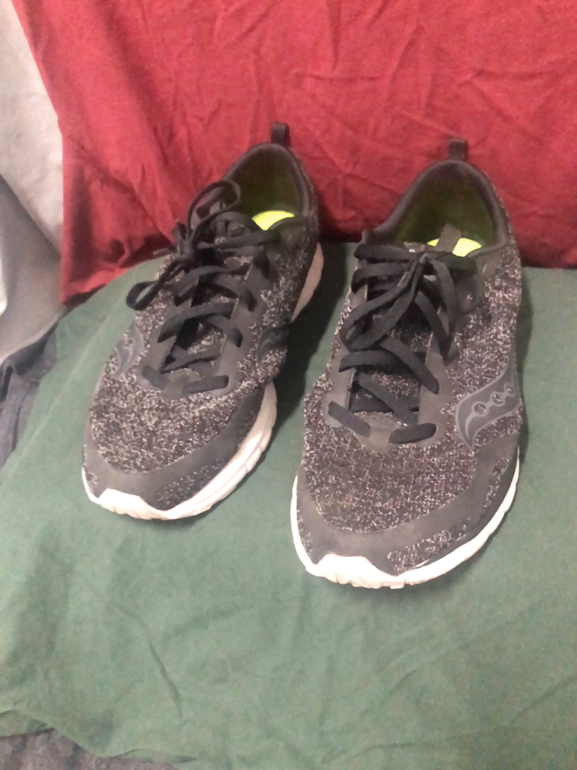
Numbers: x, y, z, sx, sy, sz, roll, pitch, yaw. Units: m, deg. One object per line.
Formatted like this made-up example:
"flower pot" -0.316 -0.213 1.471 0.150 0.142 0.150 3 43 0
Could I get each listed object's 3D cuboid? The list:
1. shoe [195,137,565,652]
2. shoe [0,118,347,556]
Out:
"shoe" 0.069 -0.020 0.342 0.120 0.099 0.262 8 50 19
"shoe" -0.058 -0.052 0.396 0.120 0.099 0.272 7 50 18
